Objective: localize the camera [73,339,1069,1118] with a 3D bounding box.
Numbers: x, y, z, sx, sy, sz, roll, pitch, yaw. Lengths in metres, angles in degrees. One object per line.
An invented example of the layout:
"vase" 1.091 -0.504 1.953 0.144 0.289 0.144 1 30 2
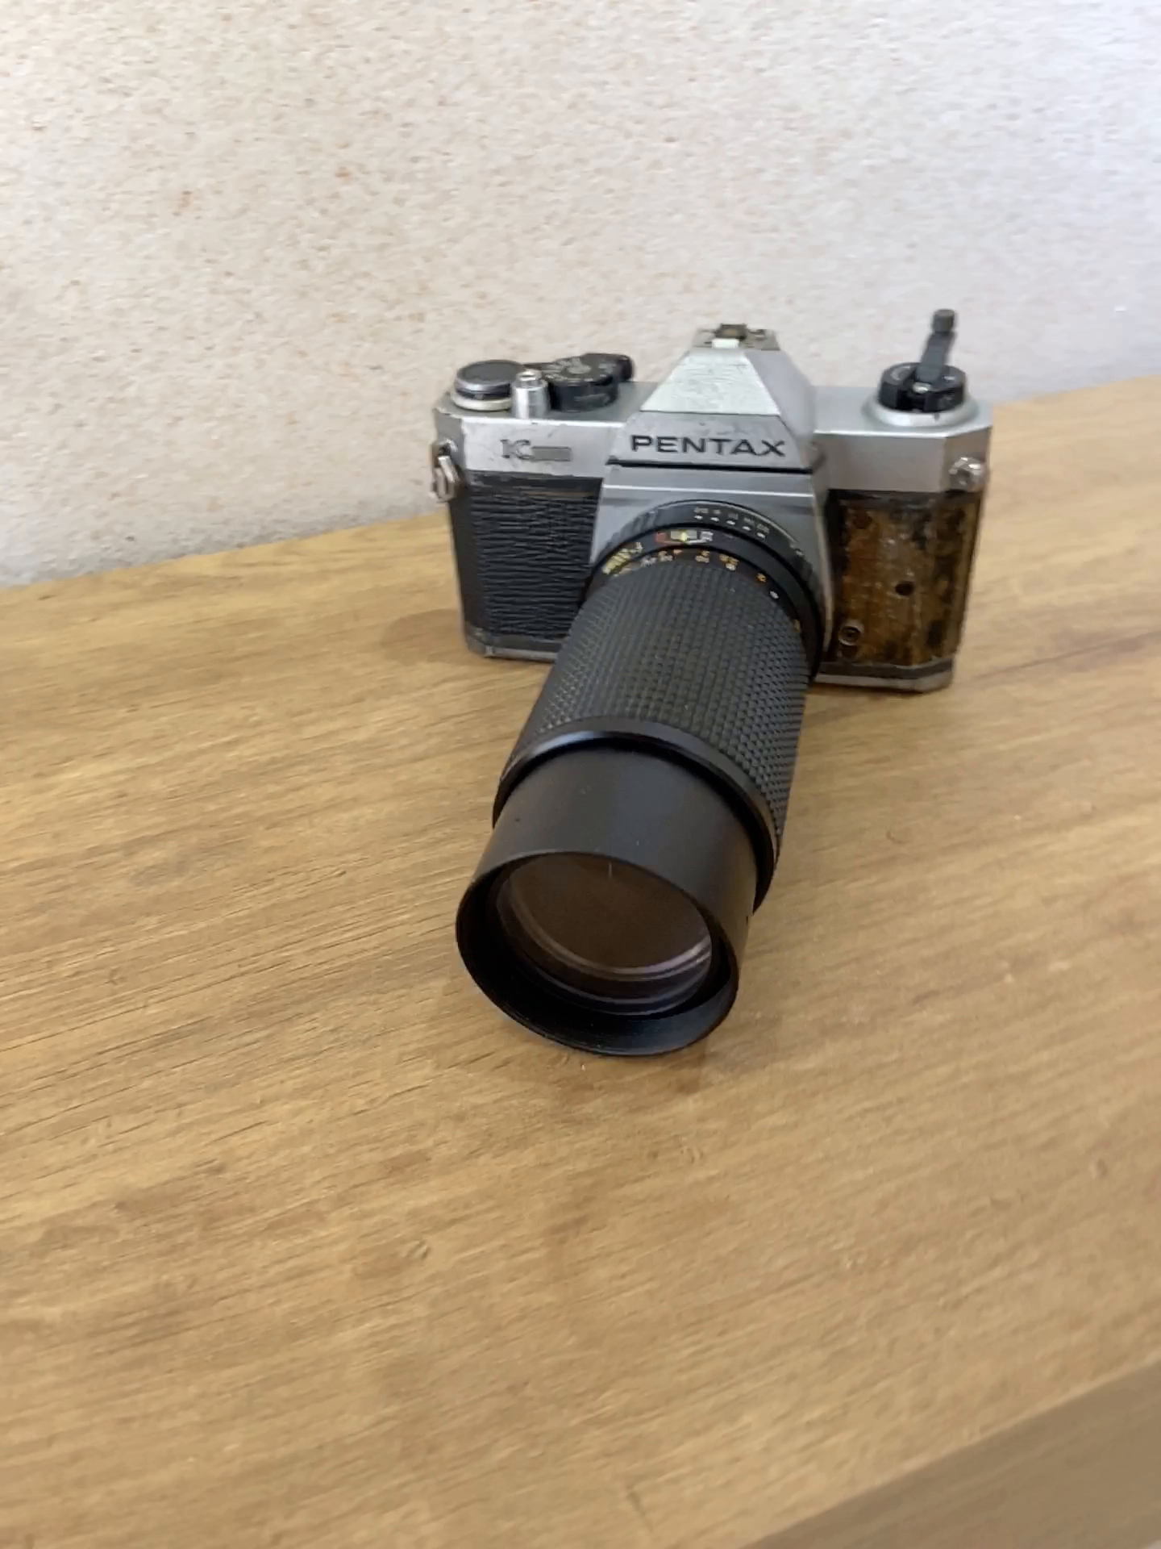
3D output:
"camera" 0.014 -0.031 0.271 0.150 0.079 0.181 4 36 12
